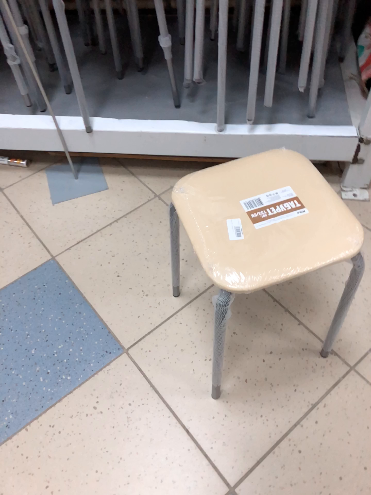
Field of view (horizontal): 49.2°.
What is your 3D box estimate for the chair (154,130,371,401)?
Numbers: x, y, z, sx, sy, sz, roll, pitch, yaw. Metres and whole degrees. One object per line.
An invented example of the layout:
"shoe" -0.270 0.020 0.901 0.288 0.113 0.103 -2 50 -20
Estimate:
"chair" 0.161 0.056 0.882 0.340 0.437 0.312 -16 52 -9
